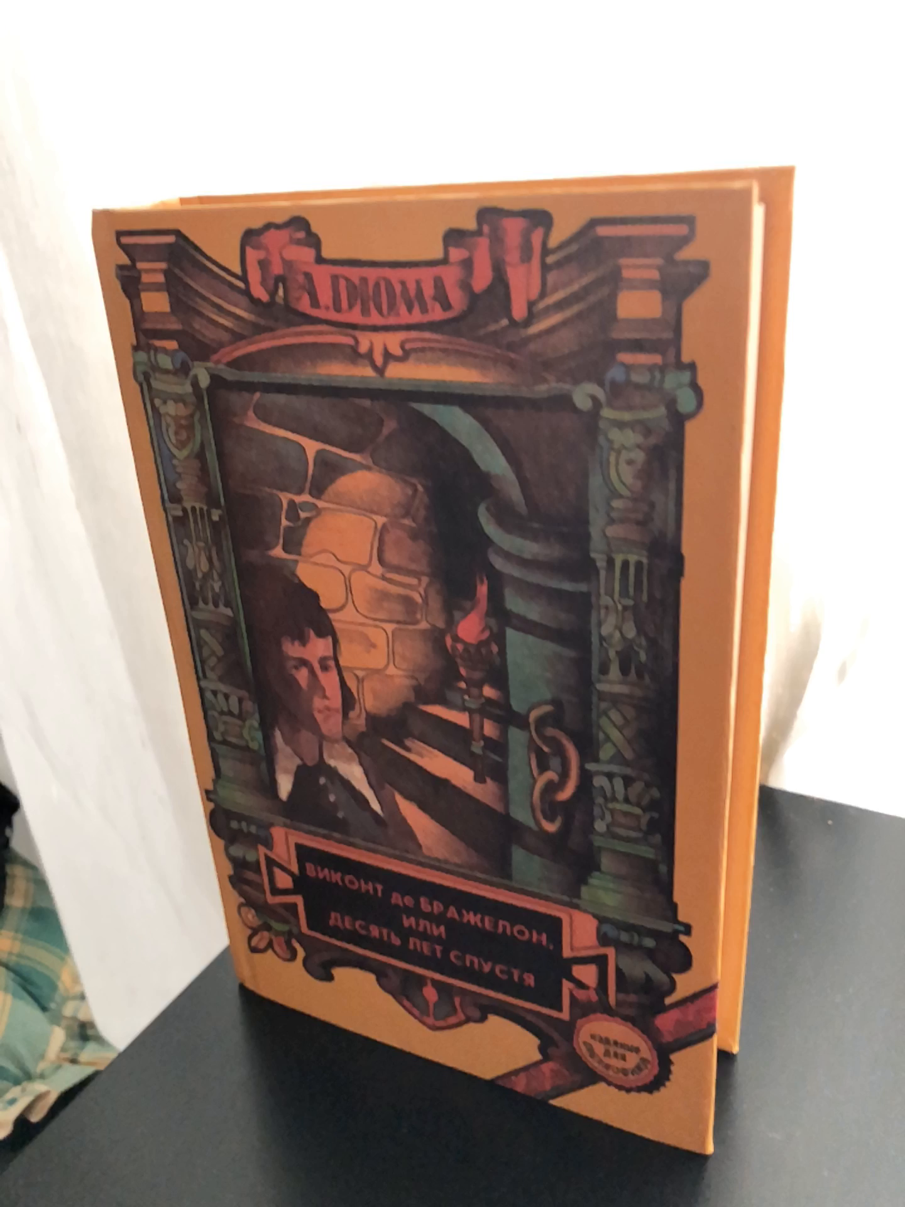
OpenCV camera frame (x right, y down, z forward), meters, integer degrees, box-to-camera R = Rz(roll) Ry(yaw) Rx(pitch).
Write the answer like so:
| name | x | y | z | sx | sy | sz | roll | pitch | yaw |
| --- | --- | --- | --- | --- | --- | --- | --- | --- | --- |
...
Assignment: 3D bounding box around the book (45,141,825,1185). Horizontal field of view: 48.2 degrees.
| name | x | y | z | sx | sy | sz | roll | pitch | yaw |
| --- | --- | --- | --- | --- | --- | --- | --- | --- | --- |
| book | 0.001 | 0.016 | 0.231 | 0.142 | 0.209 | 0.045 | 7 | 27 | 27 |
